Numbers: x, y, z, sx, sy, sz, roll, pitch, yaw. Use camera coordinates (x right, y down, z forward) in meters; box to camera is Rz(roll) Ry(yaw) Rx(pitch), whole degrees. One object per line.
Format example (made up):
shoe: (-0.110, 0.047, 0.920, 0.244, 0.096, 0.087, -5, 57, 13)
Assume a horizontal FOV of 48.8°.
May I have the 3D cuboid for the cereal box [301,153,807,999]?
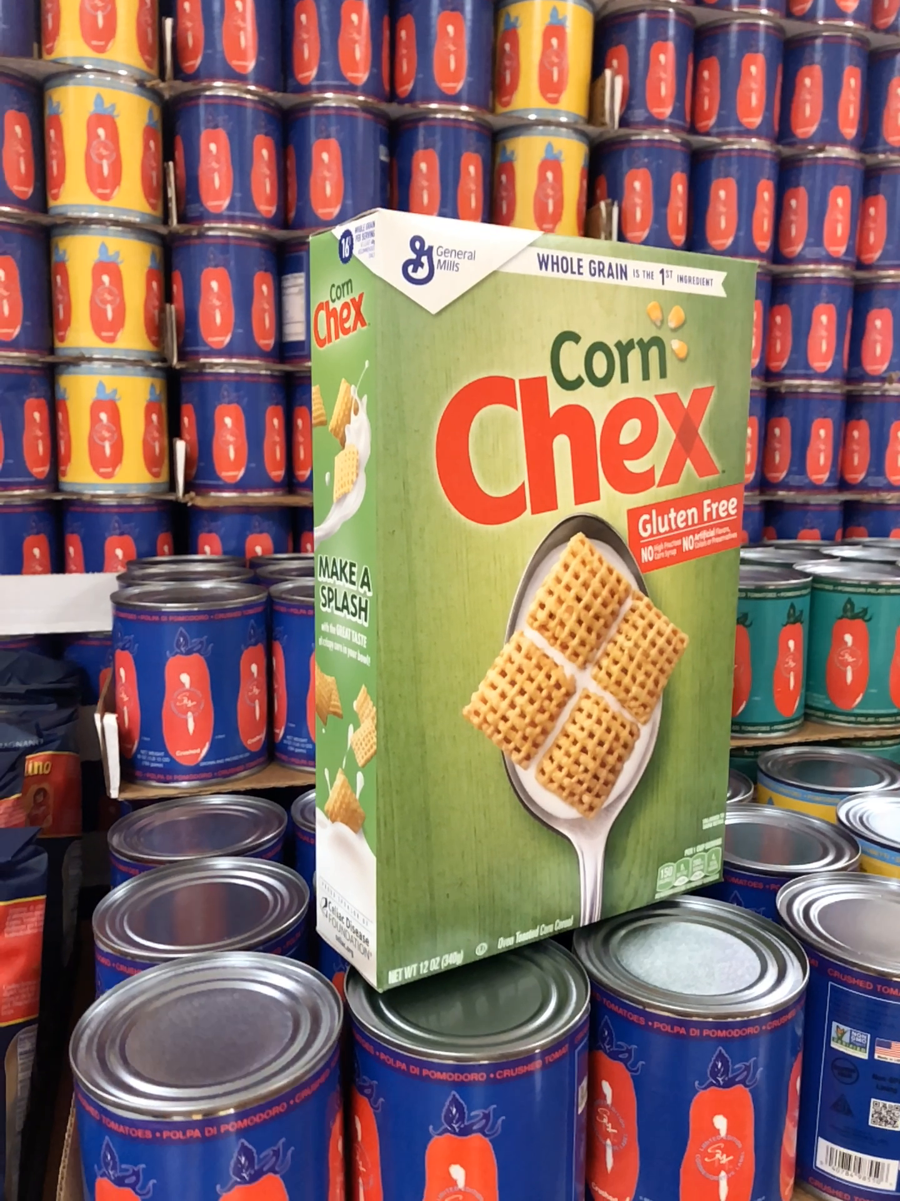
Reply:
cereal box: (0.050, -0.012, 0.433, 0.220, 0.299, 0.060, -5, 10, -33)
